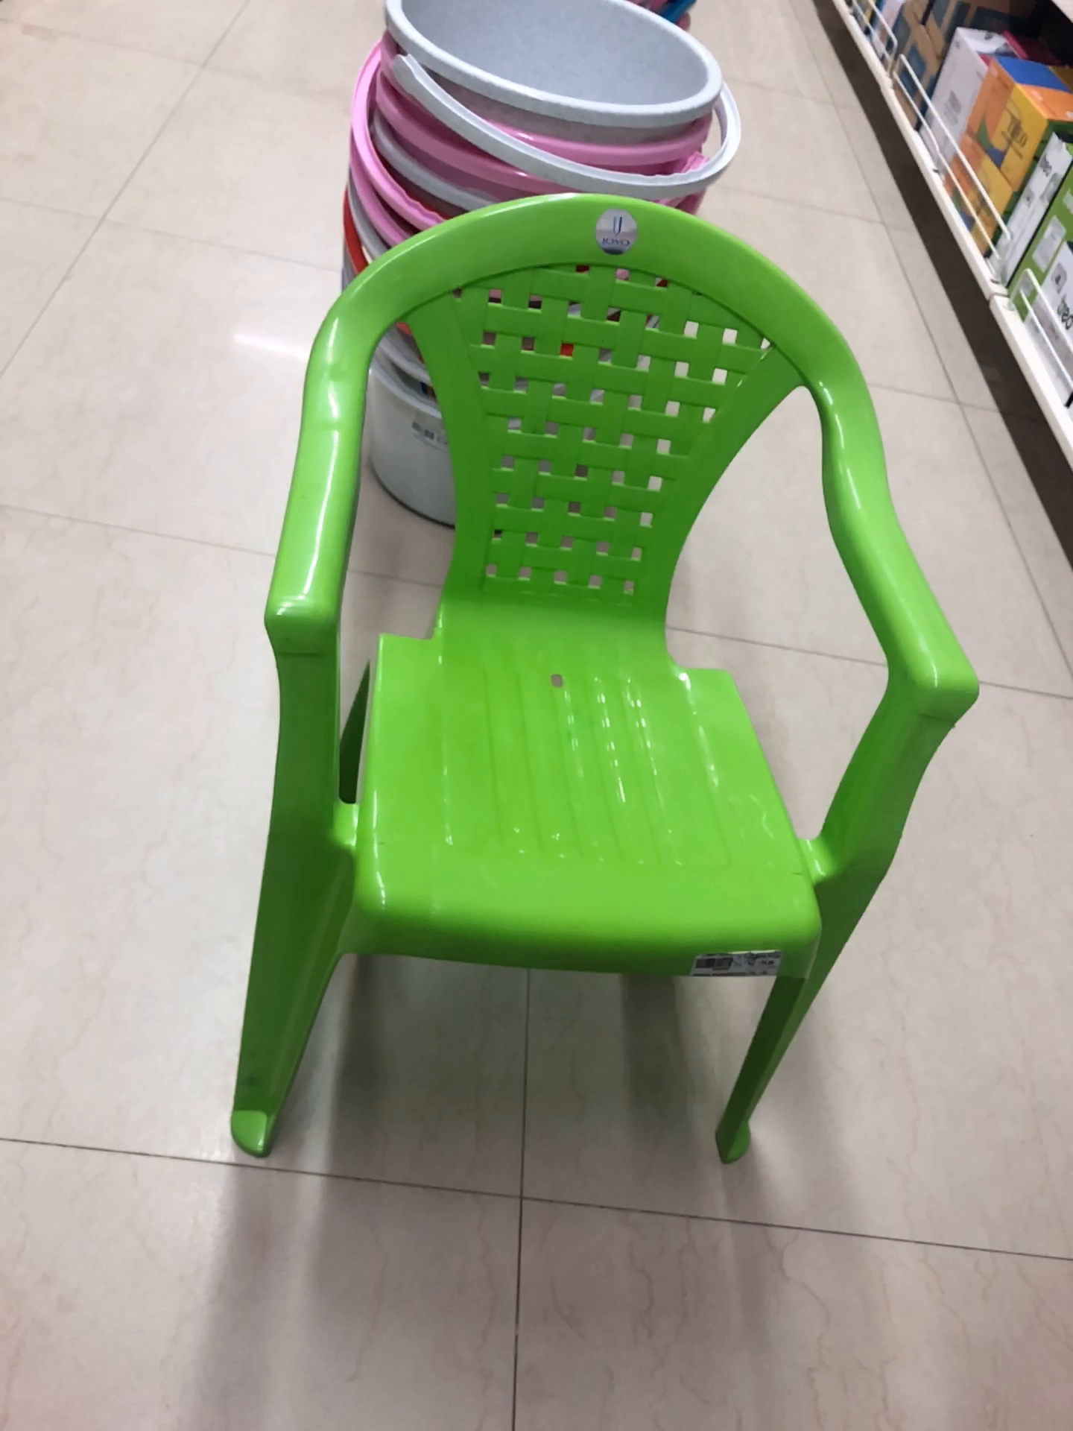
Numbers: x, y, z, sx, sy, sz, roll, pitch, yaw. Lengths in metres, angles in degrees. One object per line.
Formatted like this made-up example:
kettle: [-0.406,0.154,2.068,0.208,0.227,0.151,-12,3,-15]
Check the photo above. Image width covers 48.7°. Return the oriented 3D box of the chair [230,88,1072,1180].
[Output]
chair: [0.034,0.004,0.682,0.360,0.517,0.312,6,46,-11]
